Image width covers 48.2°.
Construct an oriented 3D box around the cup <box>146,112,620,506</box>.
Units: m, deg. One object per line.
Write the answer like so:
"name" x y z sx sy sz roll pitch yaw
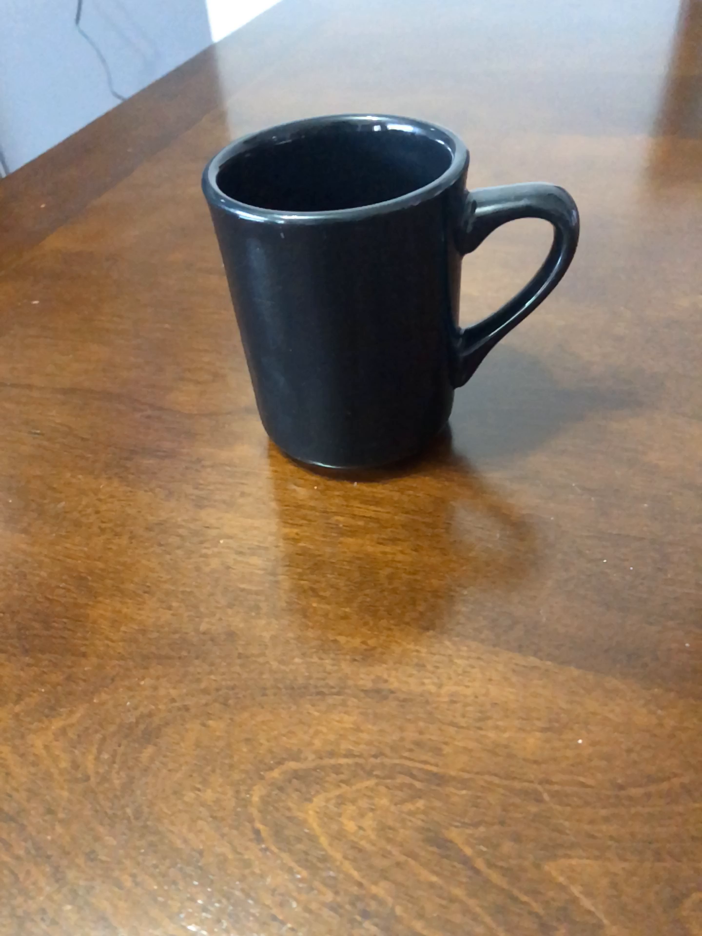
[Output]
"cup" 0.015 -0.053 0.260 0.120 0.090 0.090 2 43 9
